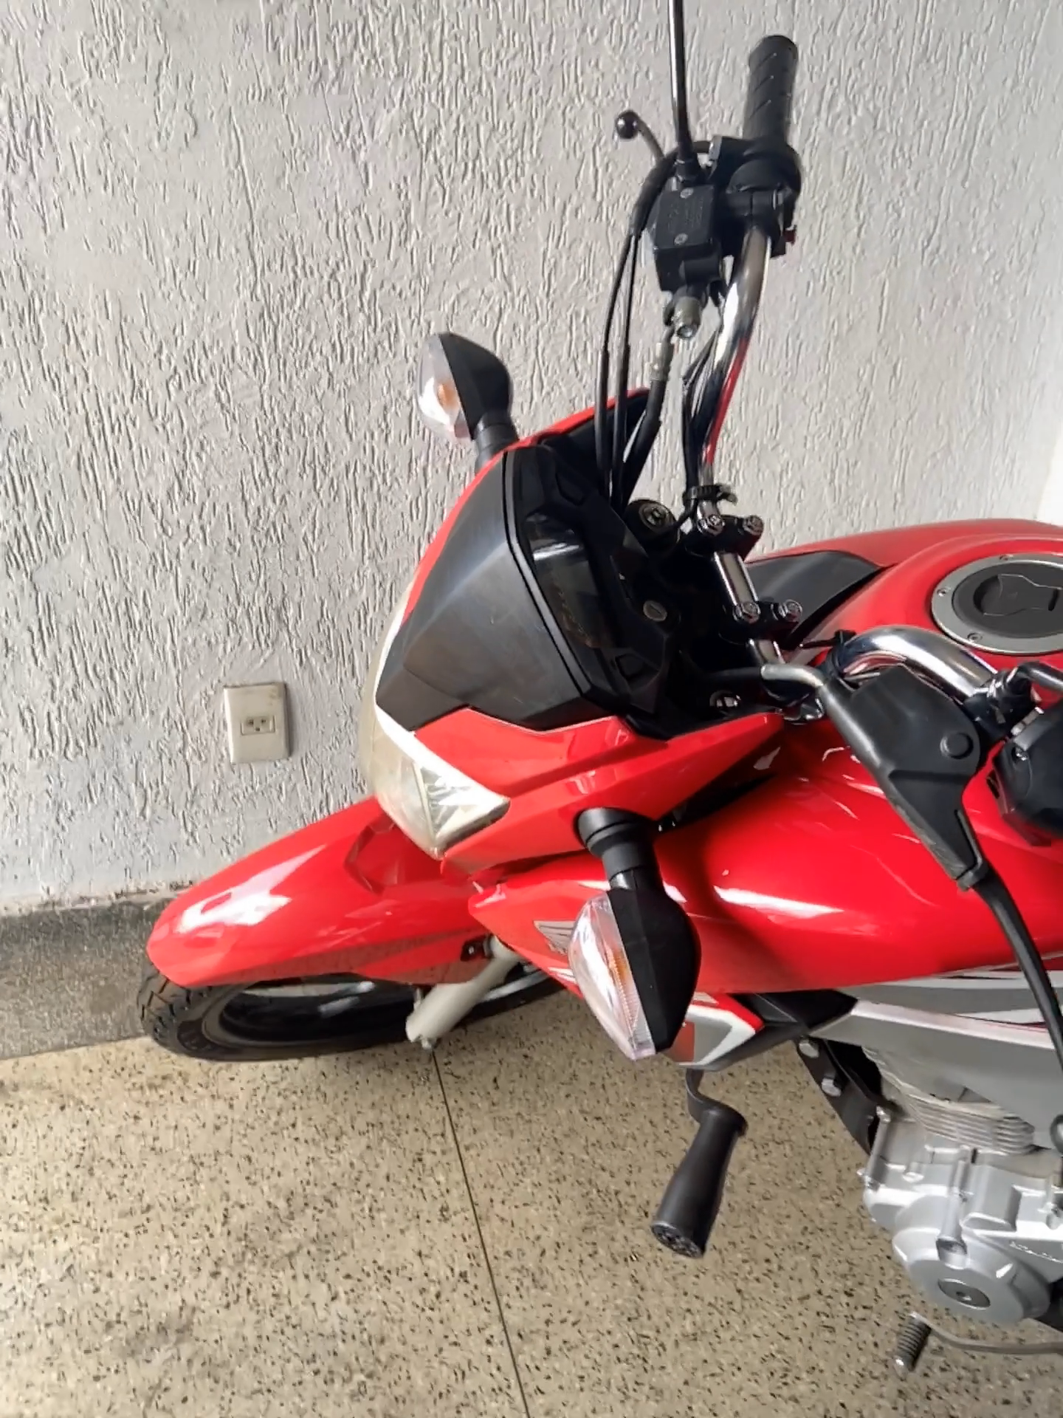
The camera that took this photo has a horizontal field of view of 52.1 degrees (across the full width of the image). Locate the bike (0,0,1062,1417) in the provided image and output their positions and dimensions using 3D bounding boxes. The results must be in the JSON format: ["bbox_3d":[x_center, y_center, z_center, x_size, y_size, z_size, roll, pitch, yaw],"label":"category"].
[{"bbox_3d":[0.436,0.382,0.795,1.989,1.422,0.873,11,28,18],"label":"bike"}]
